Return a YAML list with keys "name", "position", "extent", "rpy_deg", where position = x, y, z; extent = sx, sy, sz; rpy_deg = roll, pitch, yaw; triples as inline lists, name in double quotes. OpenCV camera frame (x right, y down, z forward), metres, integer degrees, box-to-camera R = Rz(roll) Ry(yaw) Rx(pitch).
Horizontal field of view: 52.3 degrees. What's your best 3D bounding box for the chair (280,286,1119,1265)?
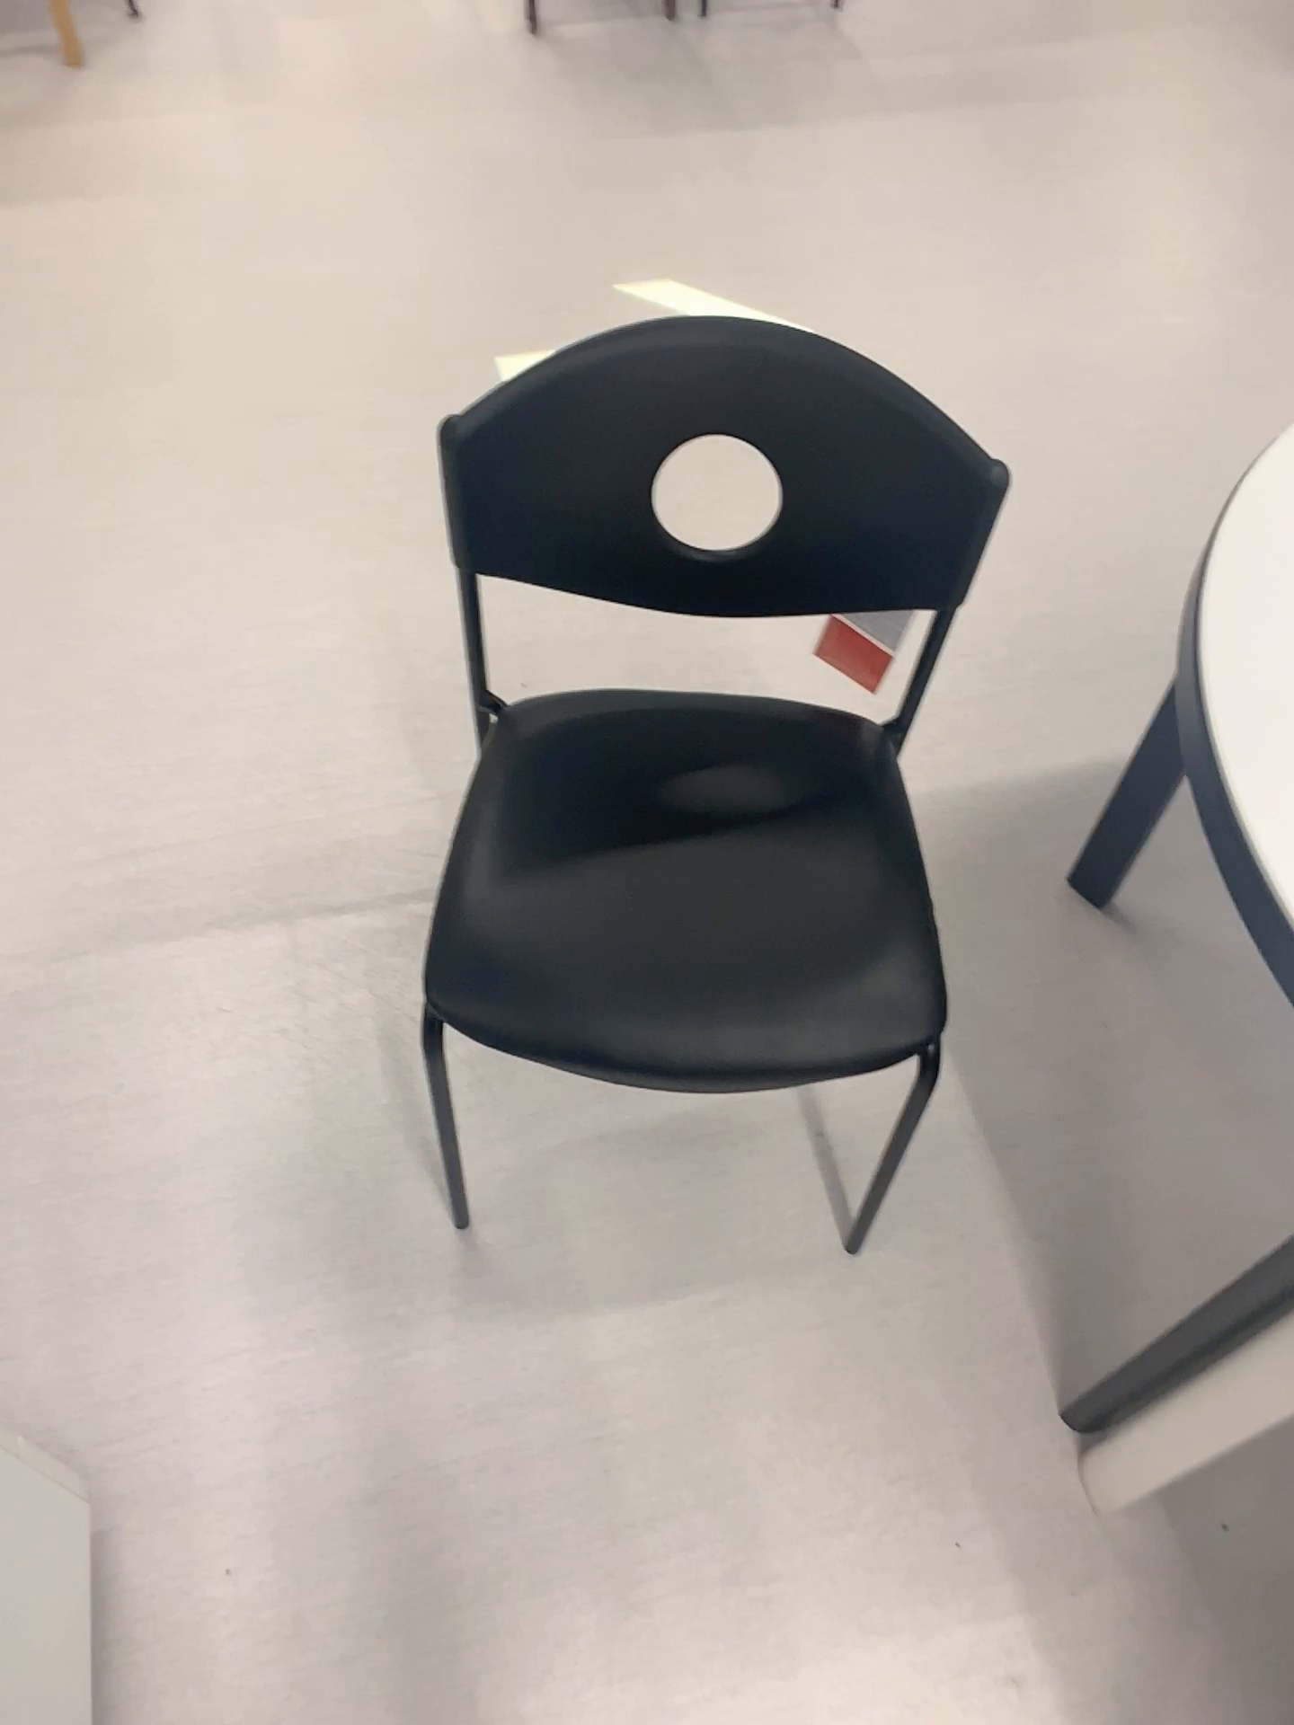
- name: "chair"
  position: [0.025, -0.034, 1.268]
  extent: [0.510, 0.738, 0.581]
  rpy_deg: [3, 54, -1]
